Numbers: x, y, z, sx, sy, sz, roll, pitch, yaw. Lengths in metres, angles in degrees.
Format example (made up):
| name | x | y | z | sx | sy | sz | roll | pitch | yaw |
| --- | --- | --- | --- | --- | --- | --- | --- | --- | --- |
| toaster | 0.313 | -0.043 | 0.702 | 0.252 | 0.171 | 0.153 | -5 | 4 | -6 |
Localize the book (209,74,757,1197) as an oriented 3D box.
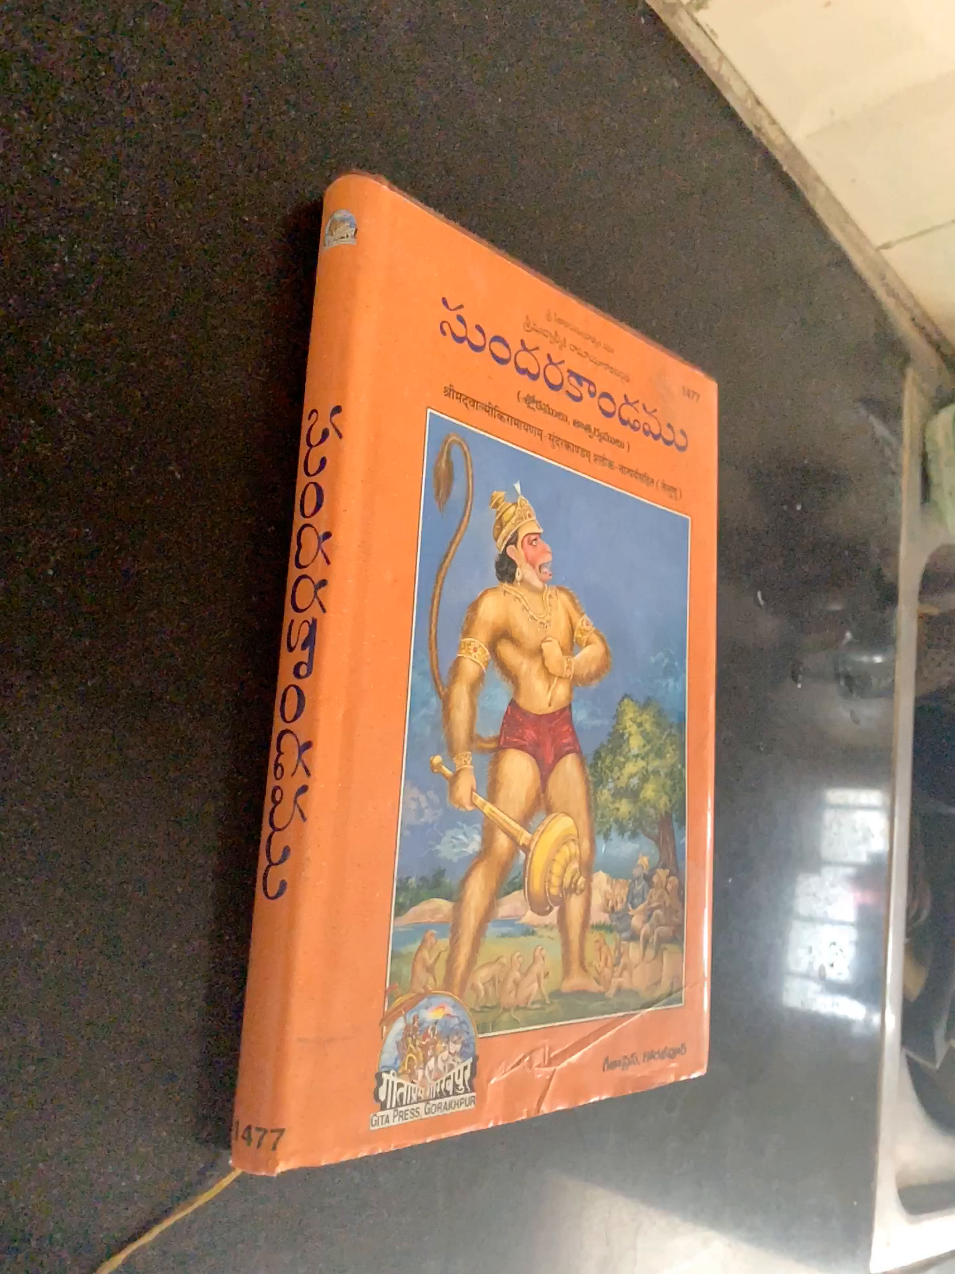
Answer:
| name | x | y | z | sx | sy | sz | roll | pitch | yaw |
| --- | --- | --- | --- | --- | --- | --- | --- | --- | --- |
| book | 0.024 | 0.002 | 0.342 | 0.201 | 0.040 | 0.300 | 13 | 76 | -43 |
